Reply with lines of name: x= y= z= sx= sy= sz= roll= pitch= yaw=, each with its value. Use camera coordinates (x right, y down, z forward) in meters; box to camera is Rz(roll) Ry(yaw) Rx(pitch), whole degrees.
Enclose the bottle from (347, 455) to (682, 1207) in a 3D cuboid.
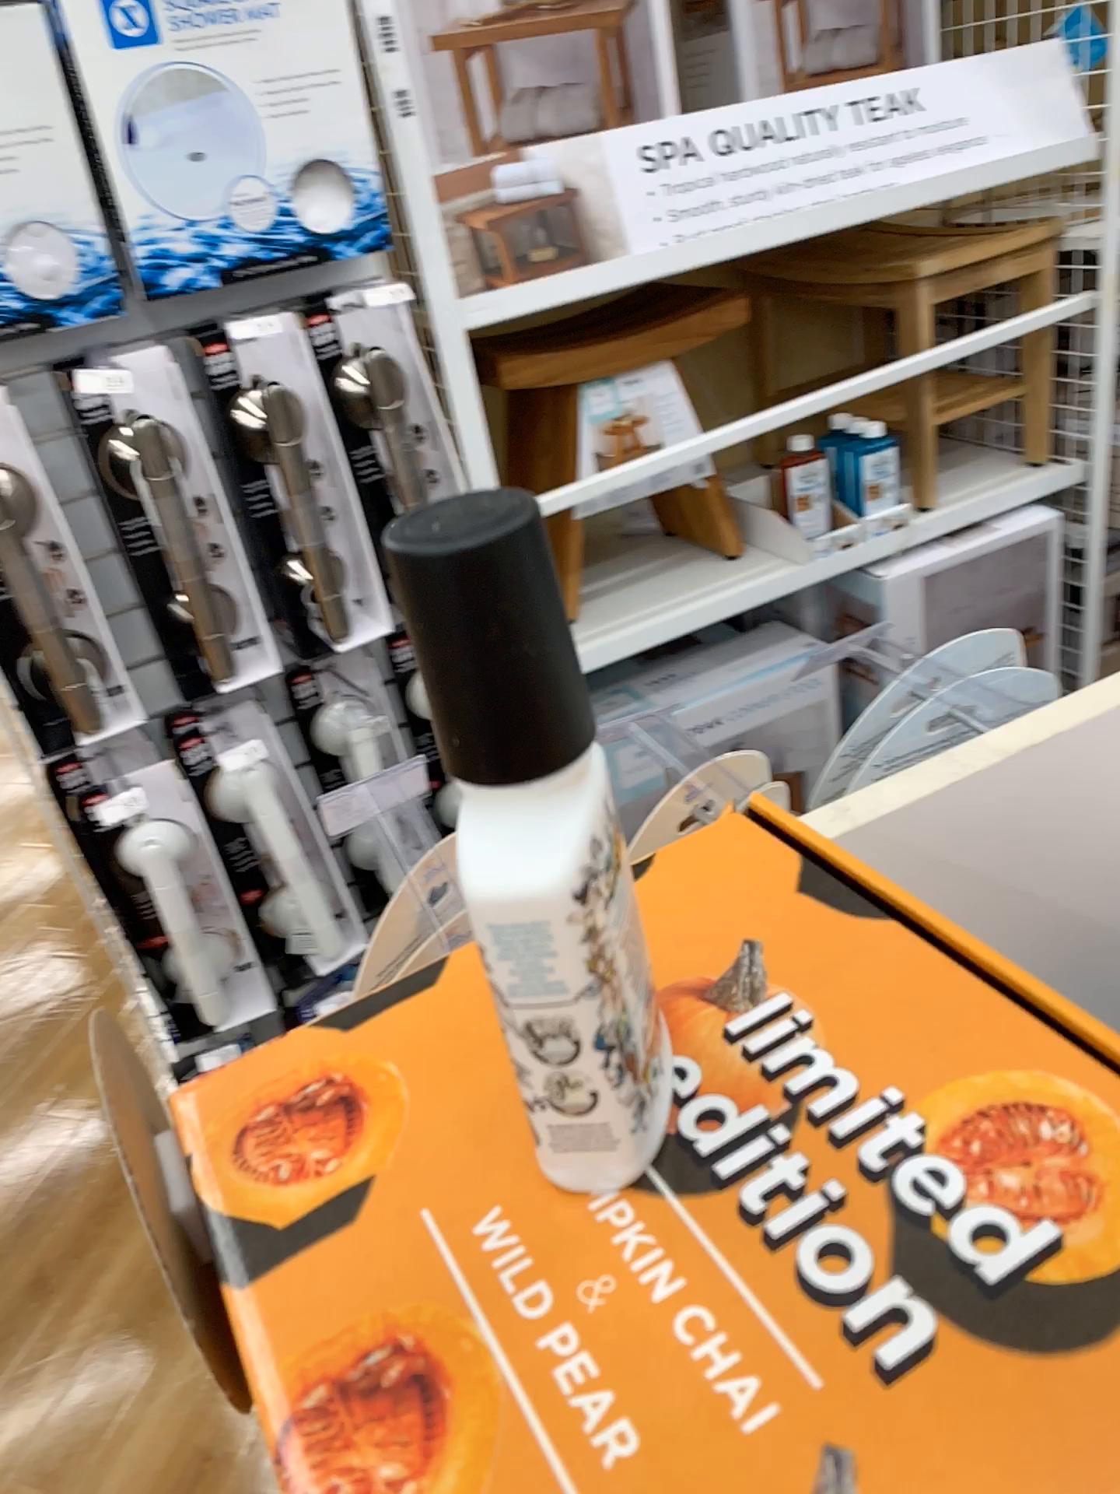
bottle: x=-0.001 y=0.023 z=0.241 sx=0.033 sy=0.151 sz=0.055 roll=-5 pitch=30 yaw=11
